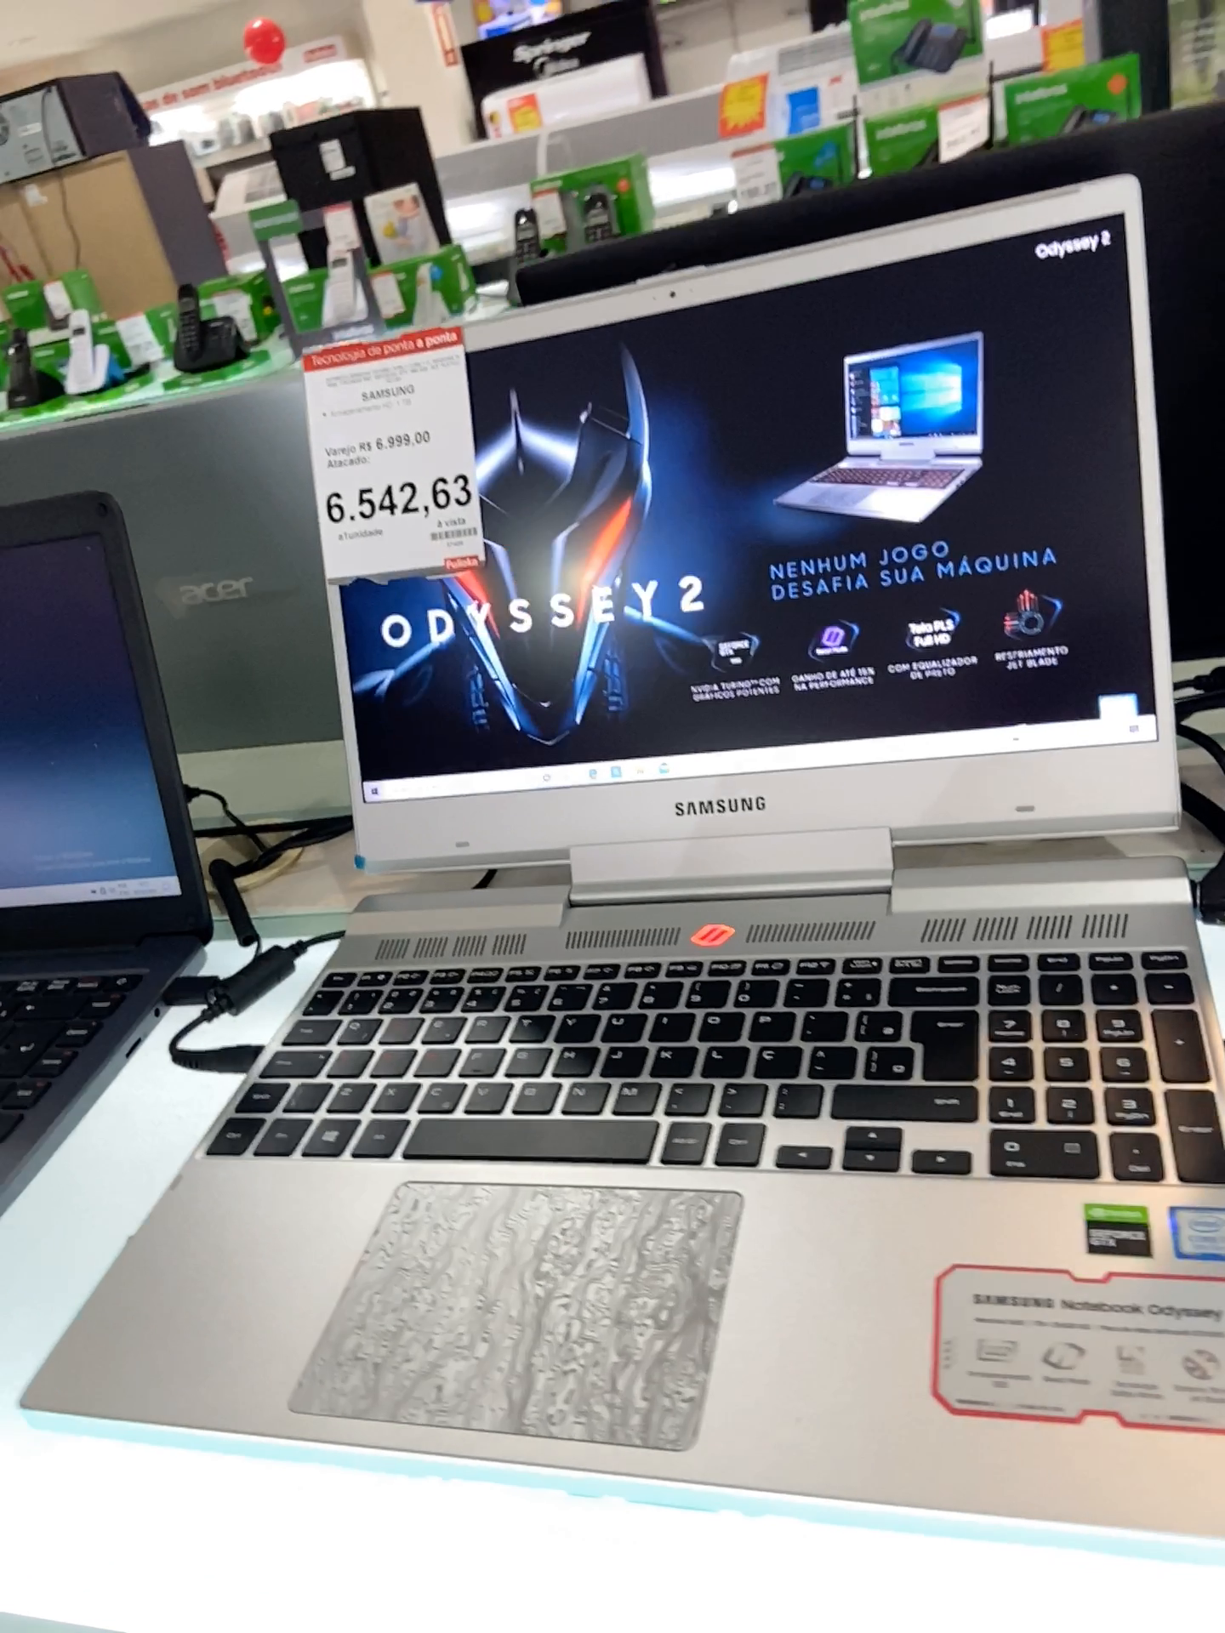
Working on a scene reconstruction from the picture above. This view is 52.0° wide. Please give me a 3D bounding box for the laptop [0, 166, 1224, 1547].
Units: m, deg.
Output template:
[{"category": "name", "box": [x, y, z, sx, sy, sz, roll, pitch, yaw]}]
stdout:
[{"category": "laptop", "box": [0.005, -0.030, 0.417, 0.353, 0.225, 0.370, -4, 30, 19]}]
